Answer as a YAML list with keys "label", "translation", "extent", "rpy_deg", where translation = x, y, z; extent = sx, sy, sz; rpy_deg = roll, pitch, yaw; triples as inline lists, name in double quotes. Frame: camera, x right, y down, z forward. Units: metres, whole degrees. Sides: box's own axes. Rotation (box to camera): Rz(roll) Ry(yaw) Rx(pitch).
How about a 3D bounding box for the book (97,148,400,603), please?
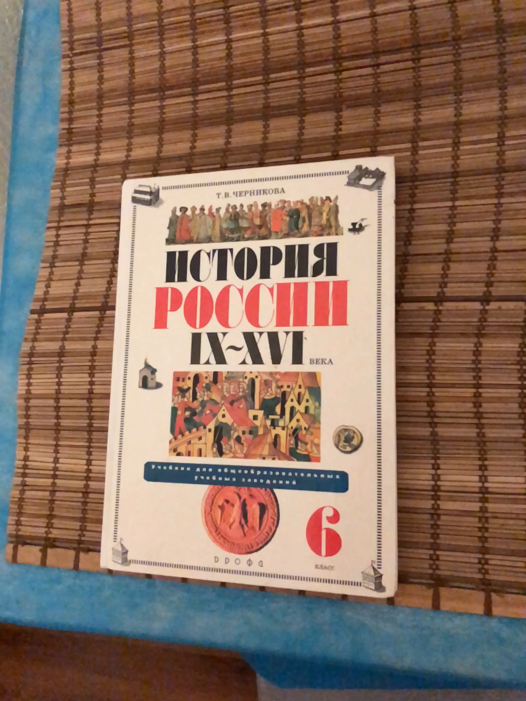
- label: "book"
  translation: [-0.007, 0.009, 0.342]
  extent: [0.169, 0.029, 0.240]
  rpy_deg: [0, 82, 16]
